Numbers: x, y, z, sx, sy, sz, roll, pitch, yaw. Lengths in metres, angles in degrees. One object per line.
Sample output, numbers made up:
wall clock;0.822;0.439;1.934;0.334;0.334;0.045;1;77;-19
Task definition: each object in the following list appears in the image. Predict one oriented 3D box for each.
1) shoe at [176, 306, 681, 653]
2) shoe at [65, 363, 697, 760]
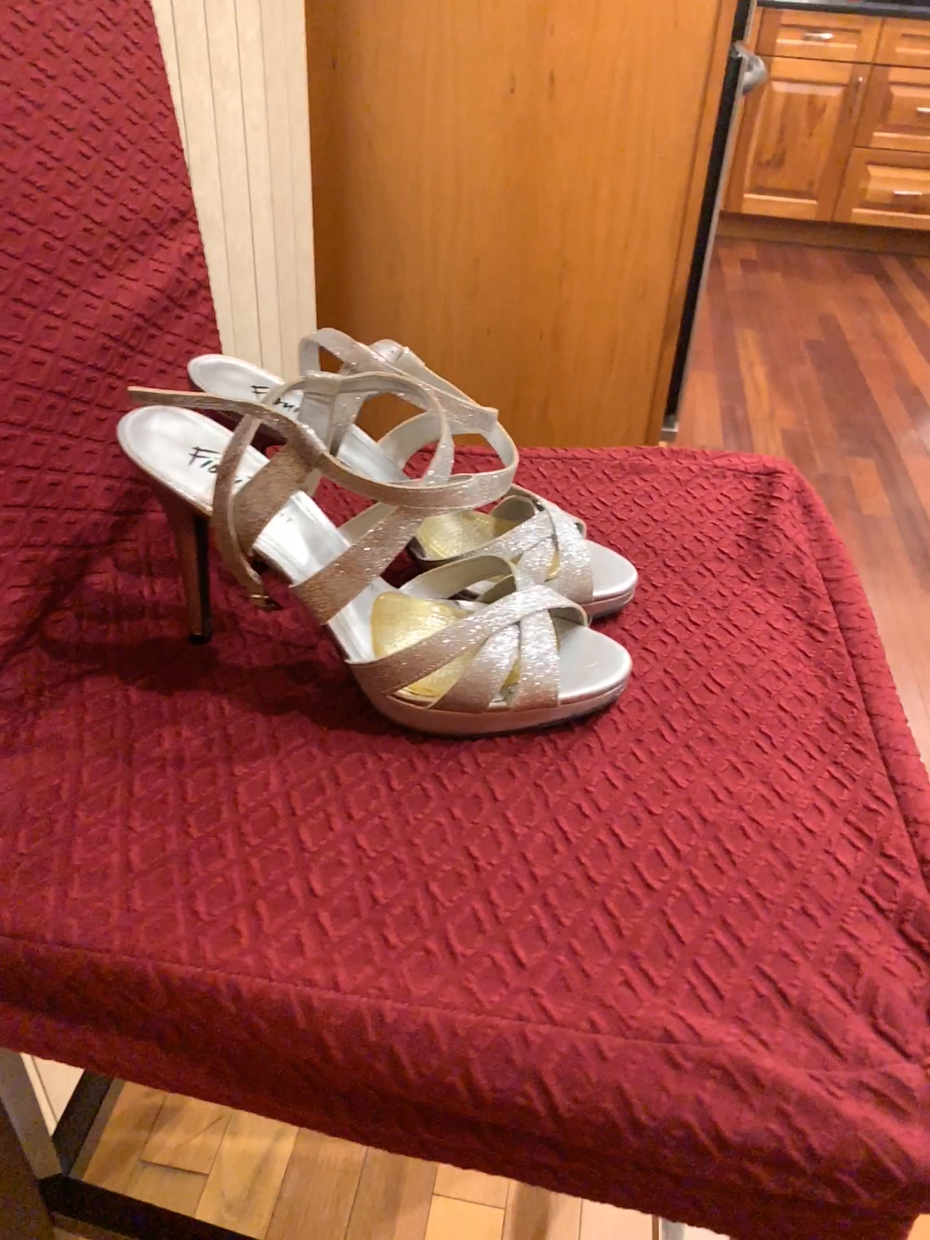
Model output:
shoe;-0.015;-0.074;0.486;0.220;0.119;0.101;7;36;4
shoe;-0.031;-0.028;0.421;0.230;0.119;0.101;5;36;2
